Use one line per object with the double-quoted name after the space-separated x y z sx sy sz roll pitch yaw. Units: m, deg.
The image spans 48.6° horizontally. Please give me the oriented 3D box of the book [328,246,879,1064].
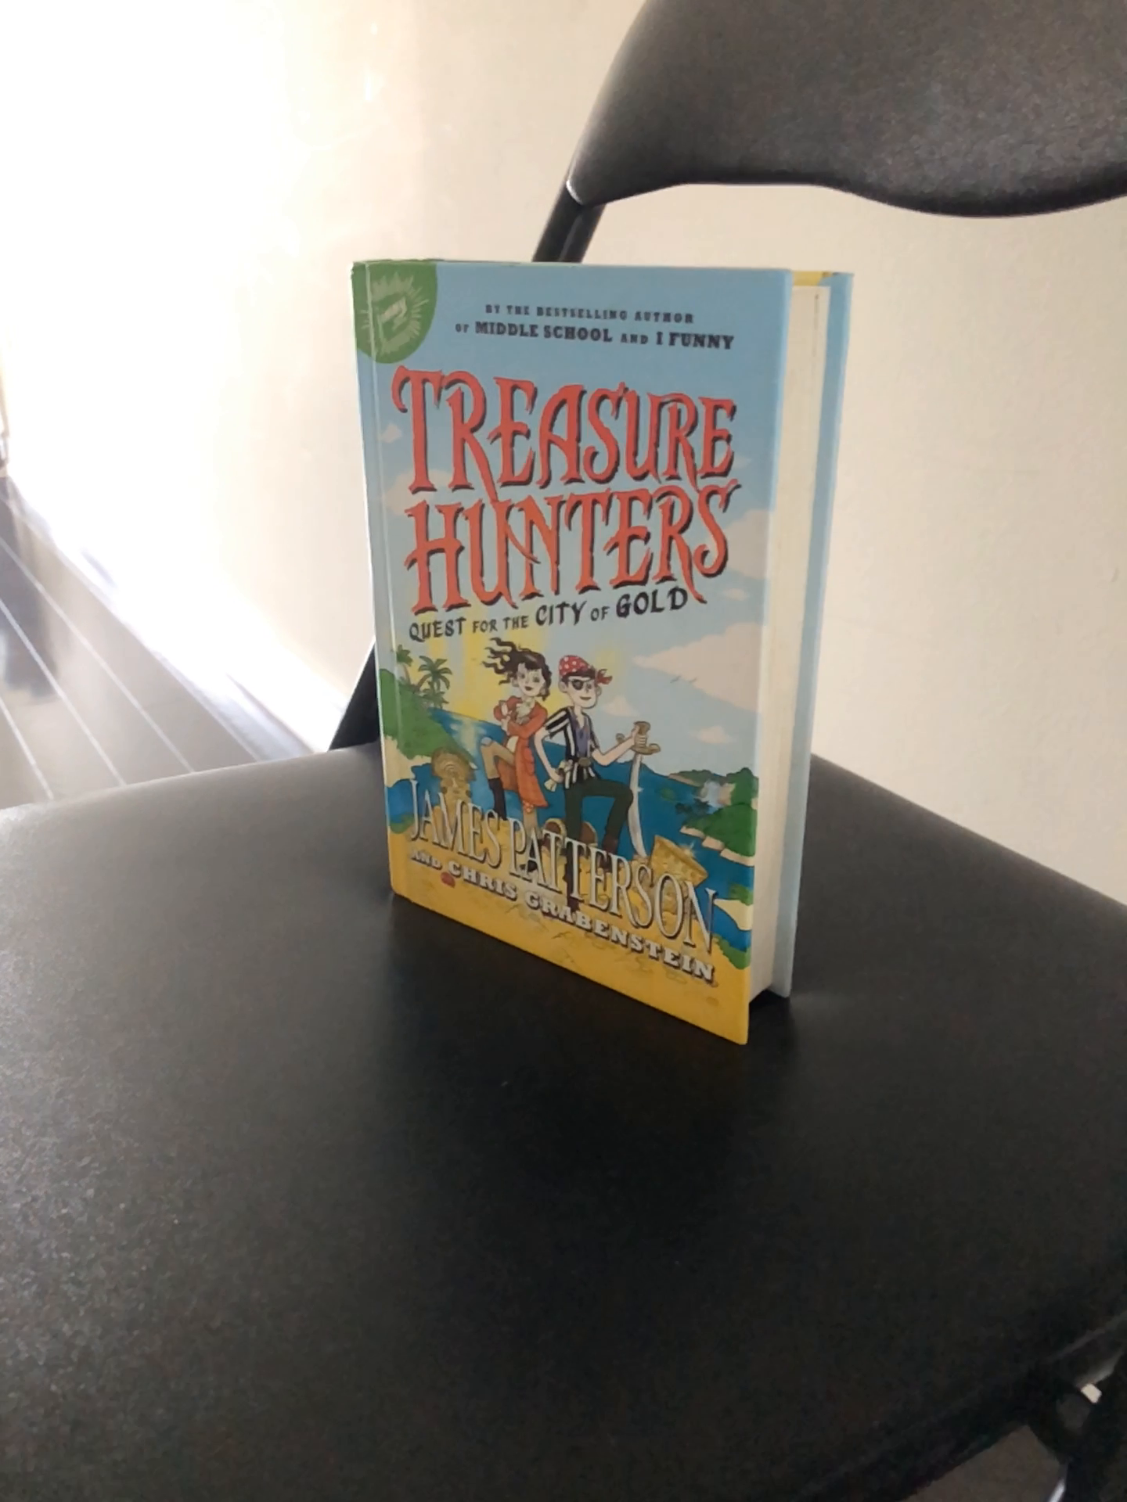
0.009 -0.033 0.374 0.155 0.215 0.040 16 31 37 "book"
